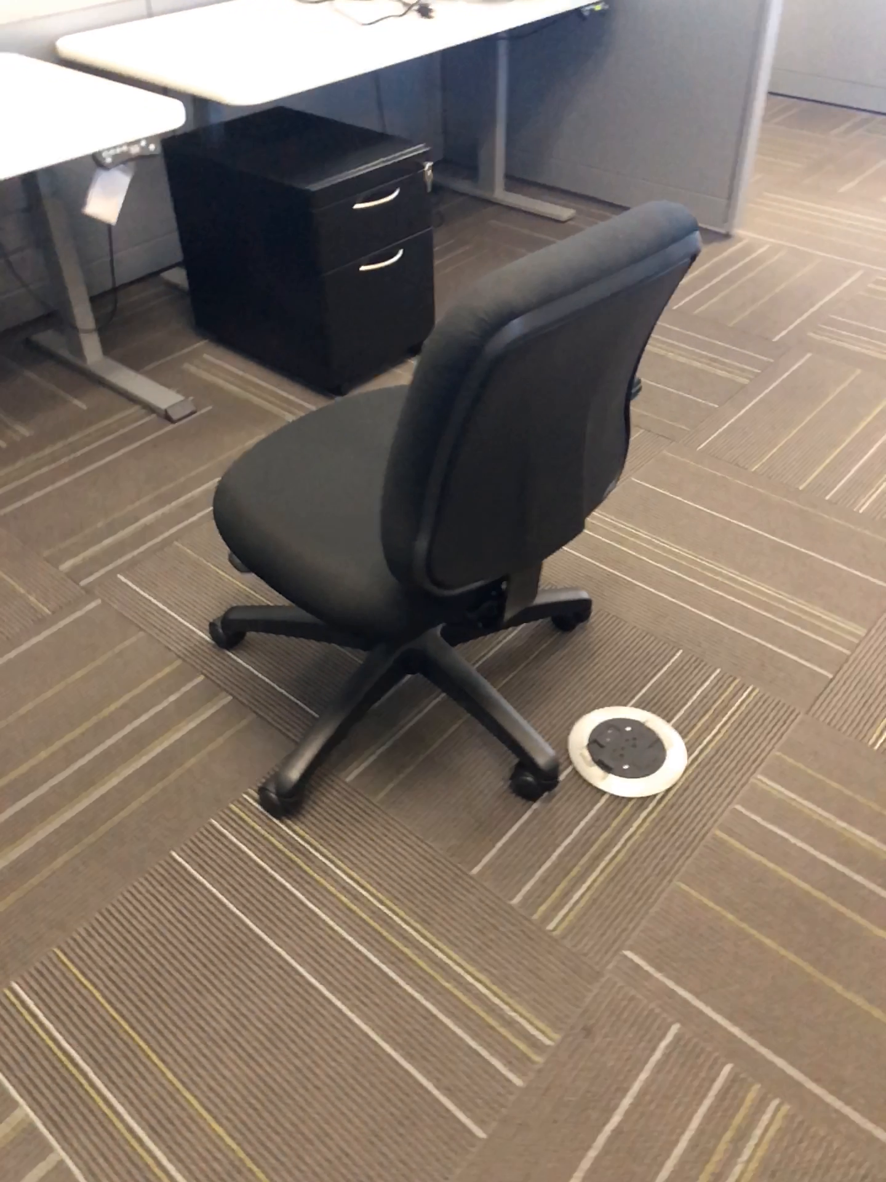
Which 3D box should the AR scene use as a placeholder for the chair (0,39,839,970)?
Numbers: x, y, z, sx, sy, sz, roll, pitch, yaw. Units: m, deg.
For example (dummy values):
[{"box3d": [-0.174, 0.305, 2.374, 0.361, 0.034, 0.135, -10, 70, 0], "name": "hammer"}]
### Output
[{"box3d": [-0.068, -0.188, 1.389, 0.762, 0.846, 0.772, 28, 49, 30], "name": "chair"}]
